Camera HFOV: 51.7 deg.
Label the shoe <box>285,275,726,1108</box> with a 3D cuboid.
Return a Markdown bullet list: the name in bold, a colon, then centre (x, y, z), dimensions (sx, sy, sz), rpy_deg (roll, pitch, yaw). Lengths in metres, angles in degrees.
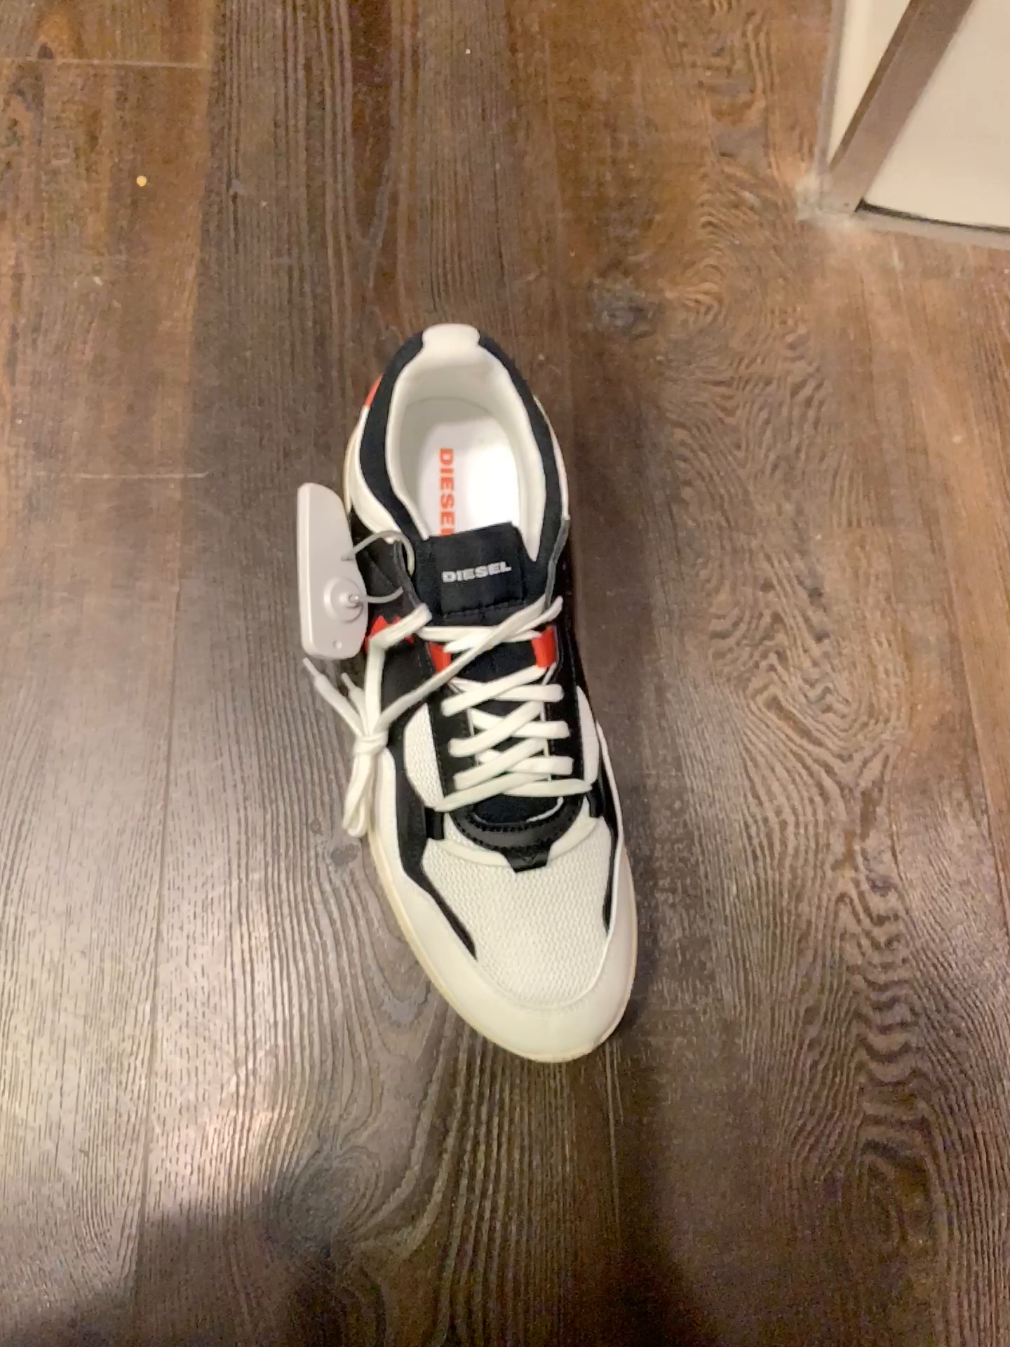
- **shoe**: centre (-0.012, 0.003, 0.430), dimensions (0.110, 0.110, 0.301), rpy_deg (-8, 74, -8)
